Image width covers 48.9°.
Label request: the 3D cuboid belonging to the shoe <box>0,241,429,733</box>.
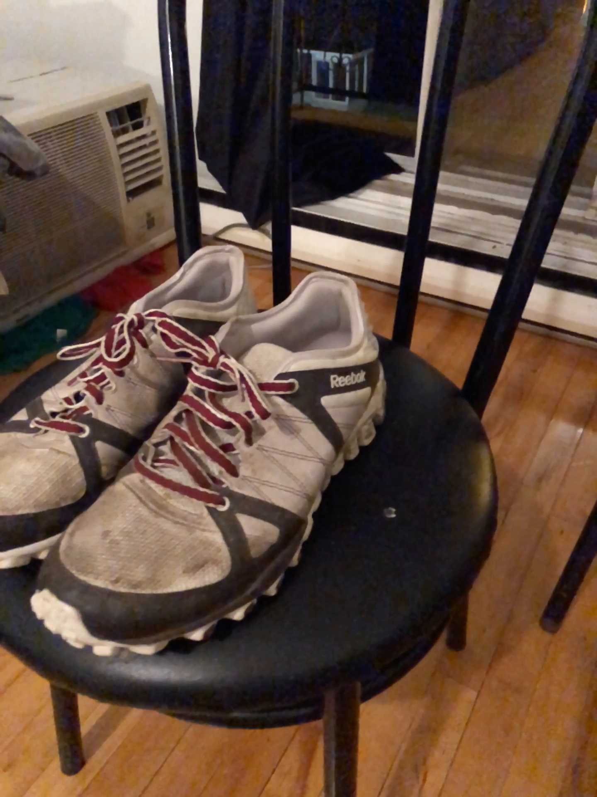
[{"bbox_3d":[-0.037,0.020,0.417,0.120,0.099,0.312,20,43,24],"label":"shoe"}]

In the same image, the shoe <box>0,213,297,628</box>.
[{"bbox_3d":[-0.123,-0.014,0.453,0.100,0.099,0.312,20,43,24],"label":"shoe"}]
